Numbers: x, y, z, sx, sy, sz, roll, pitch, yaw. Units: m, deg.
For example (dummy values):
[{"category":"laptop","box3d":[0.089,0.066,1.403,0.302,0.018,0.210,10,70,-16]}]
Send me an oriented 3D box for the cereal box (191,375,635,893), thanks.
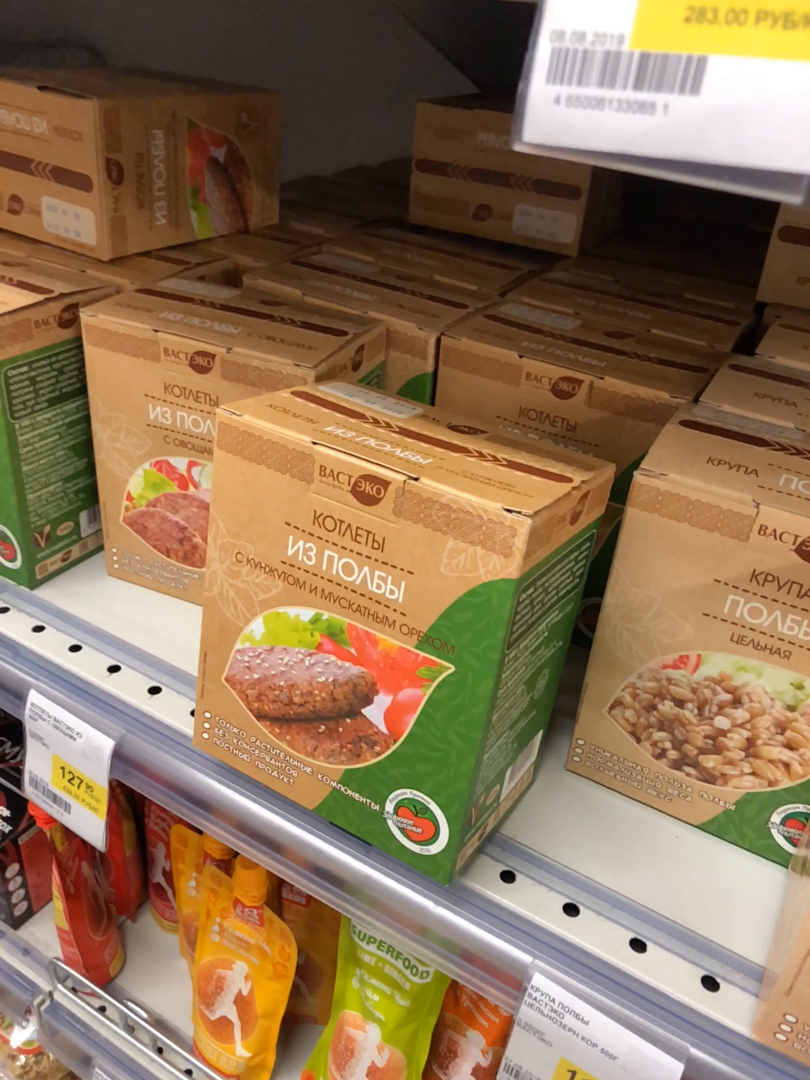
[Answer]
[{"category":"cereal box","box3d":[0.000,0.026,0.342,0.120,0.139,0.090,21,25,24]}]
